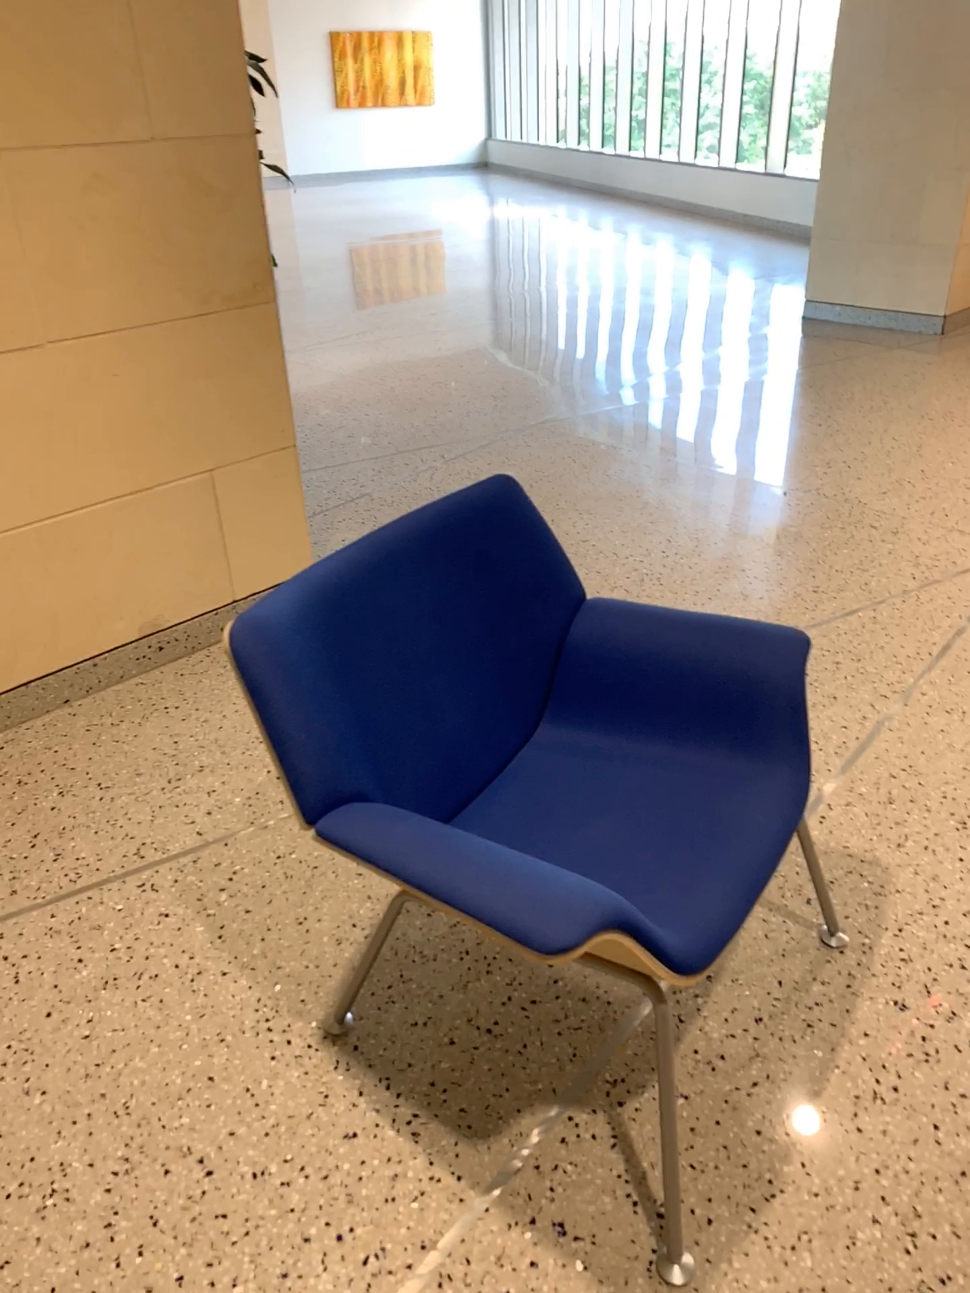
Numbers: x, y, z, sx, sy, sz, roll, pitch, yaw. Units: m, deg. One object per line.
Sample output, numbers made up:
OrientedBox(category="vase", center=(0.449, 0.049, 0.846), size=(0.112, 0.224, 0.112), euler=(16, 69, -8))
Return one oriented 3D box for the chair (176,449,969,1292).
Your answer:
OrientedBox(category="chair", center=(0.166, 0.226, 1.468), size=(0.759, 0.728, 0.783), euler=(16, 34, 30))
